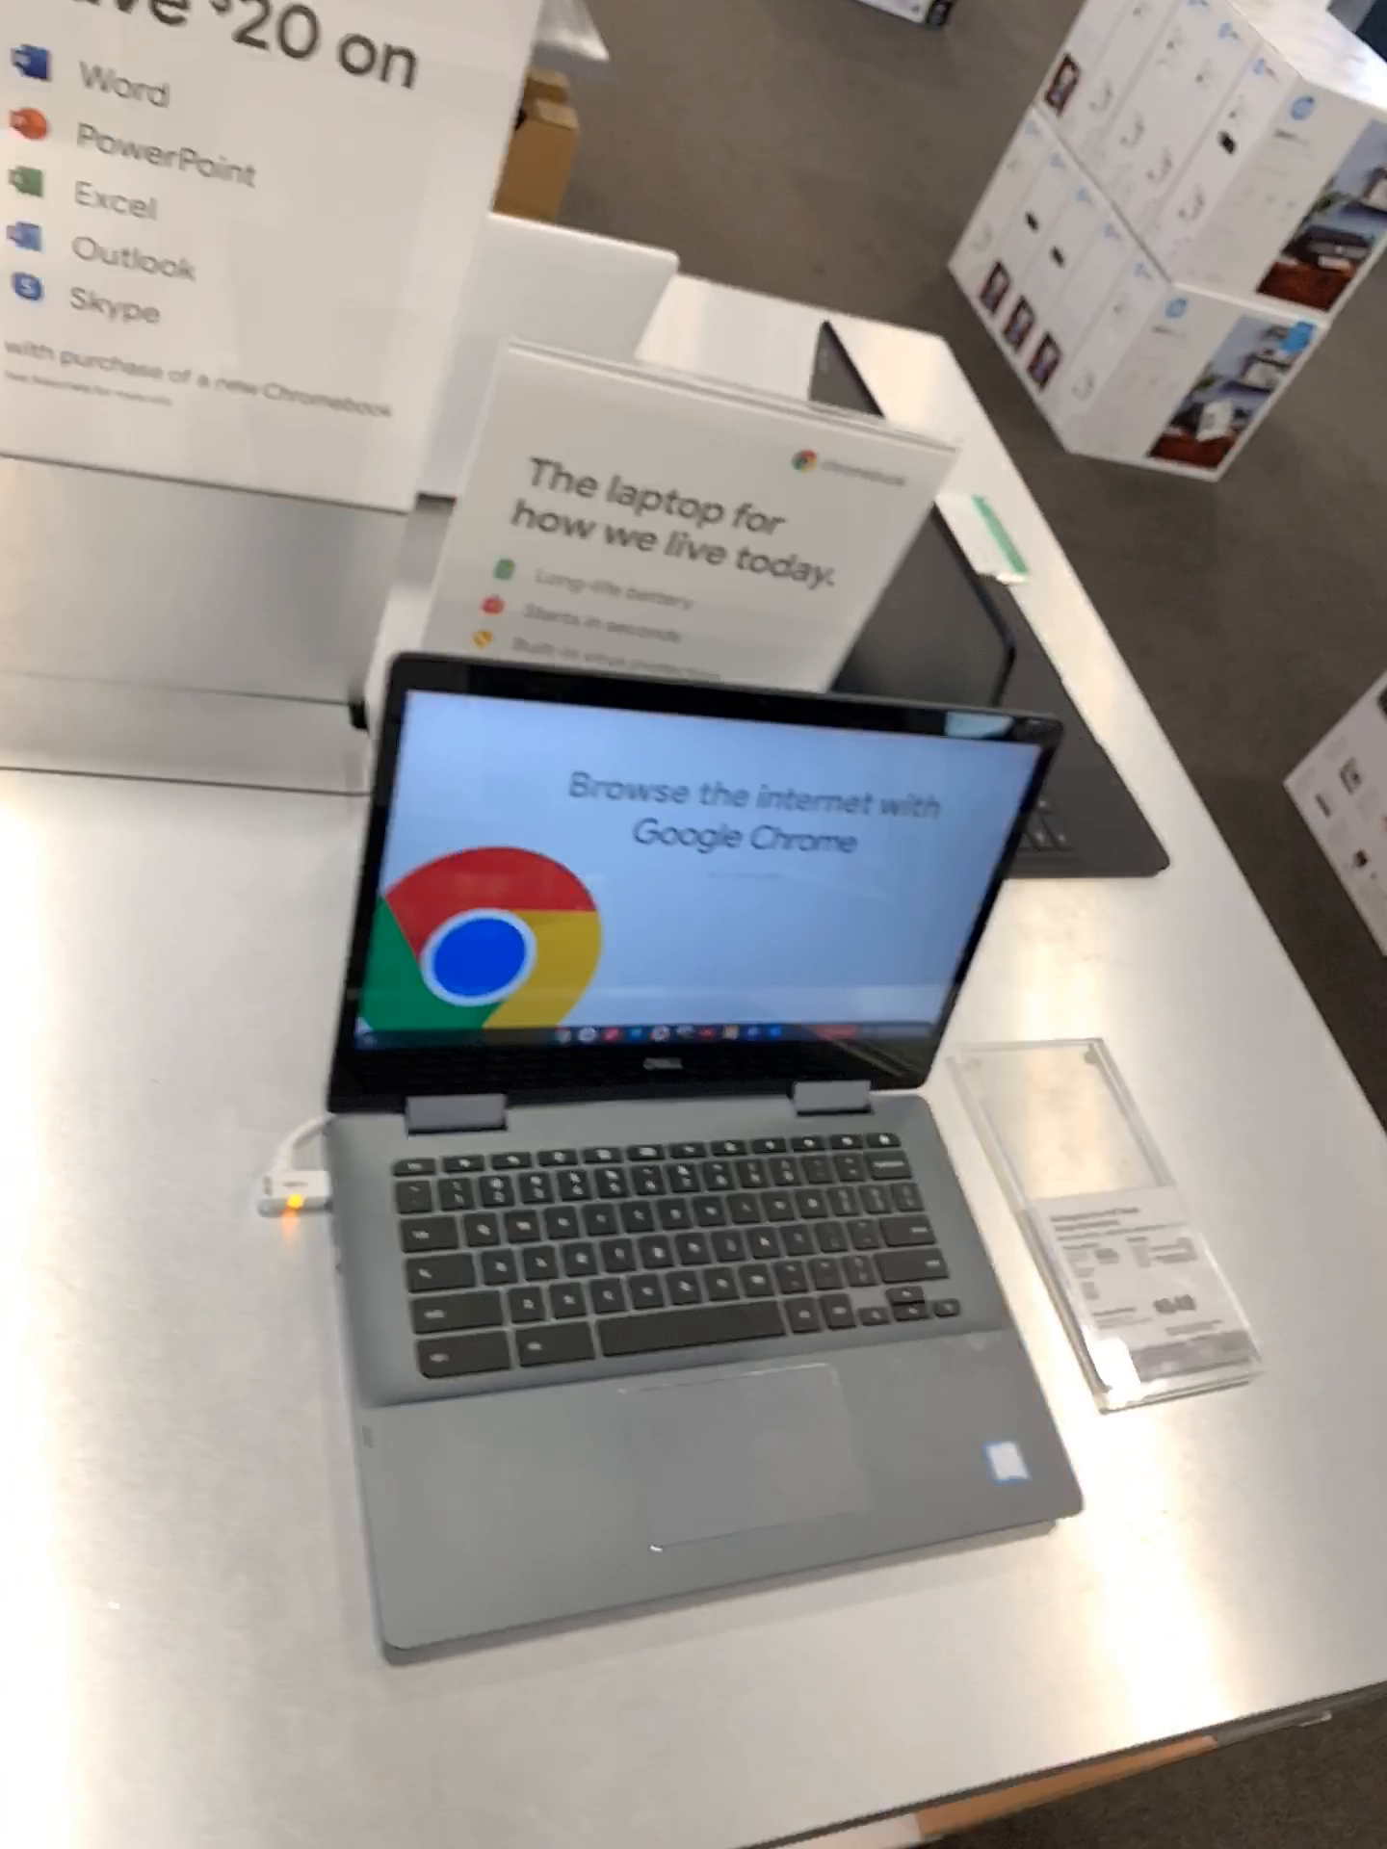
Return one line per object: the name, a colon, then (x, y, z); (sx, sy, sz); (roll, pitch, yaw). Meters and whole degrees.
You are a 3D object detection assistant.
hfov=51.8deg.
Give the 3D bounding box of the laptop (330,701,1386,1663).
laptop: (0.037, 0.090, 0.594); (0.310, 0.203, 0.293); (1, 51, -25)
